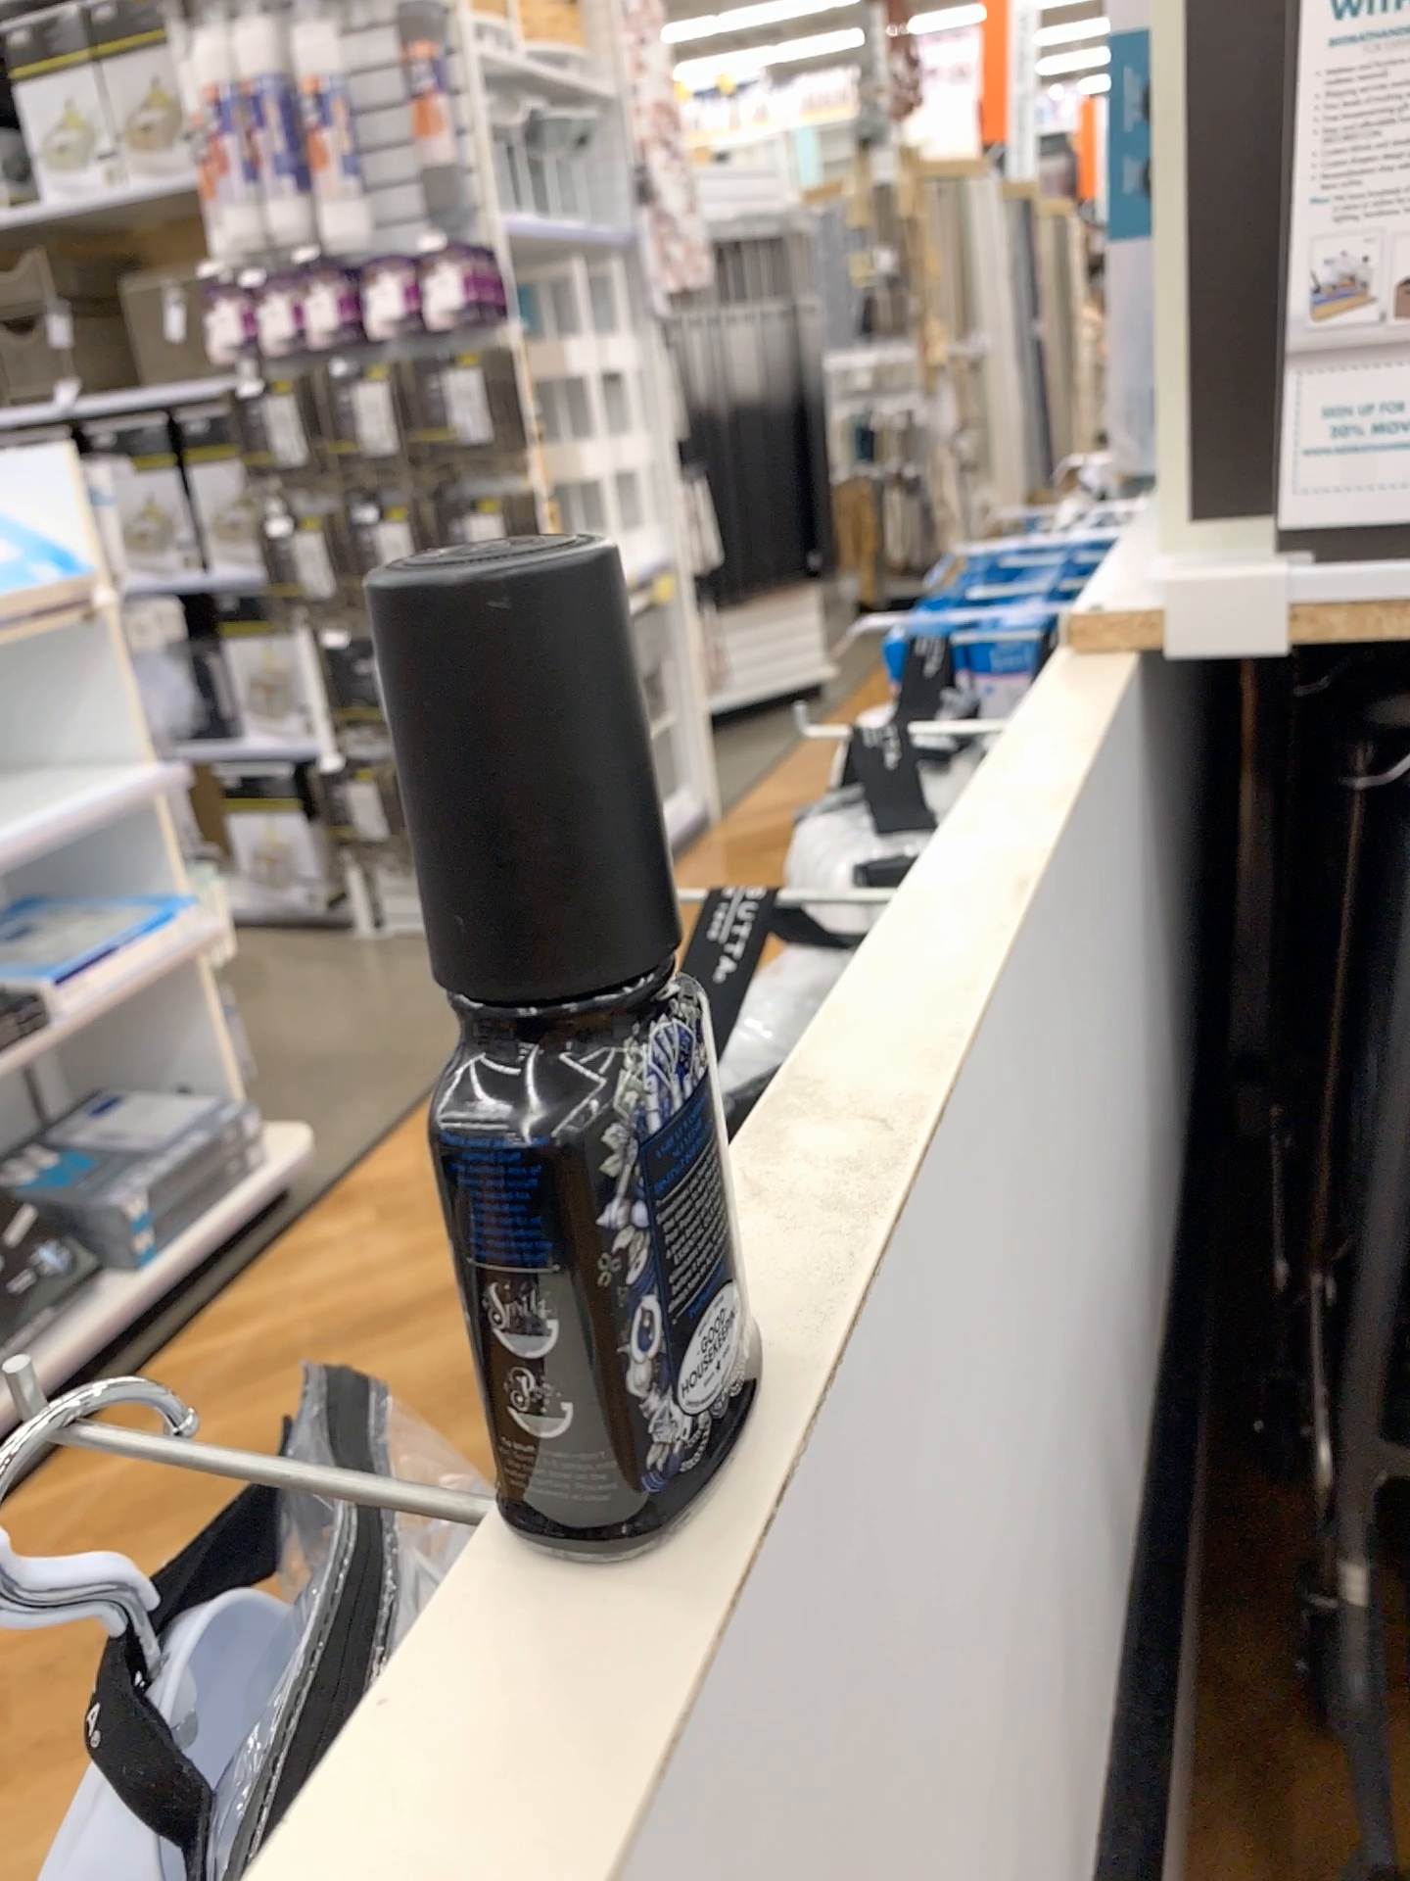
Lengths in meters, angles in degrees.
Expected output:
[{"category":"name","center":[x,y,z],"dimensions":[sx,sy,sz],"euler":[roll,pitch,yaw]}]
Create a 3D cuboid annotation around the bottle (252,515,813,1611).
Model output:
[{"category":"bottle","center":[-0.015,0.015,0.185],"dimensions":[0.032,0.123,0.050],"euler":[1,22,21]}]
